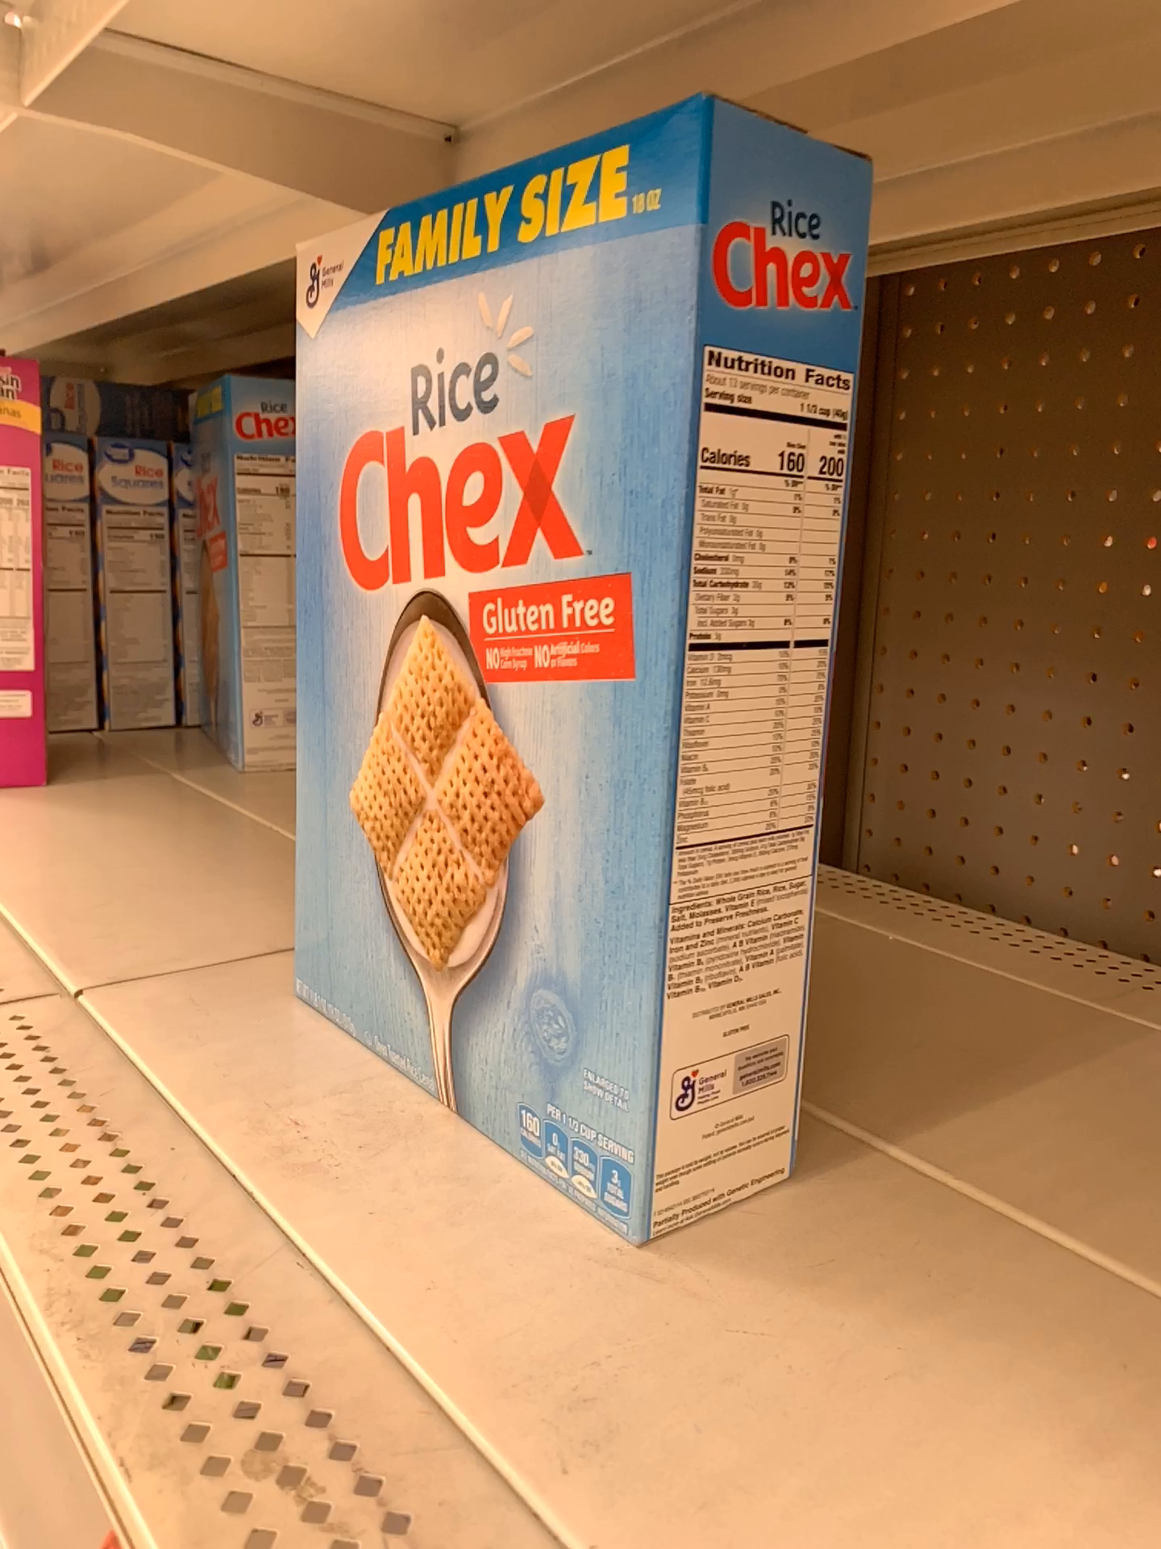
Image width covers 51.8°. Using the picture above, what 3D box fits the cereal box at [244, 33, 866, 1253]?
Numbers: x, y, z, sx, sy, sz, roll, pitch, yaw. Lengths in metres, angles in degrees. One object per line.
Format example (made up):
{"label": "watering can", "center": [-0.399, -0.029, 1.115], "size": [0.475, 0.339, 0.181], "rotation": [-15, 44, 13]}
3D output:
{"label": "cereal box", "center": [-0.032, -0.045, 0.436], "size": [0.080, 0.319, 0.251], "rotation": [-6, 13, -37]}
